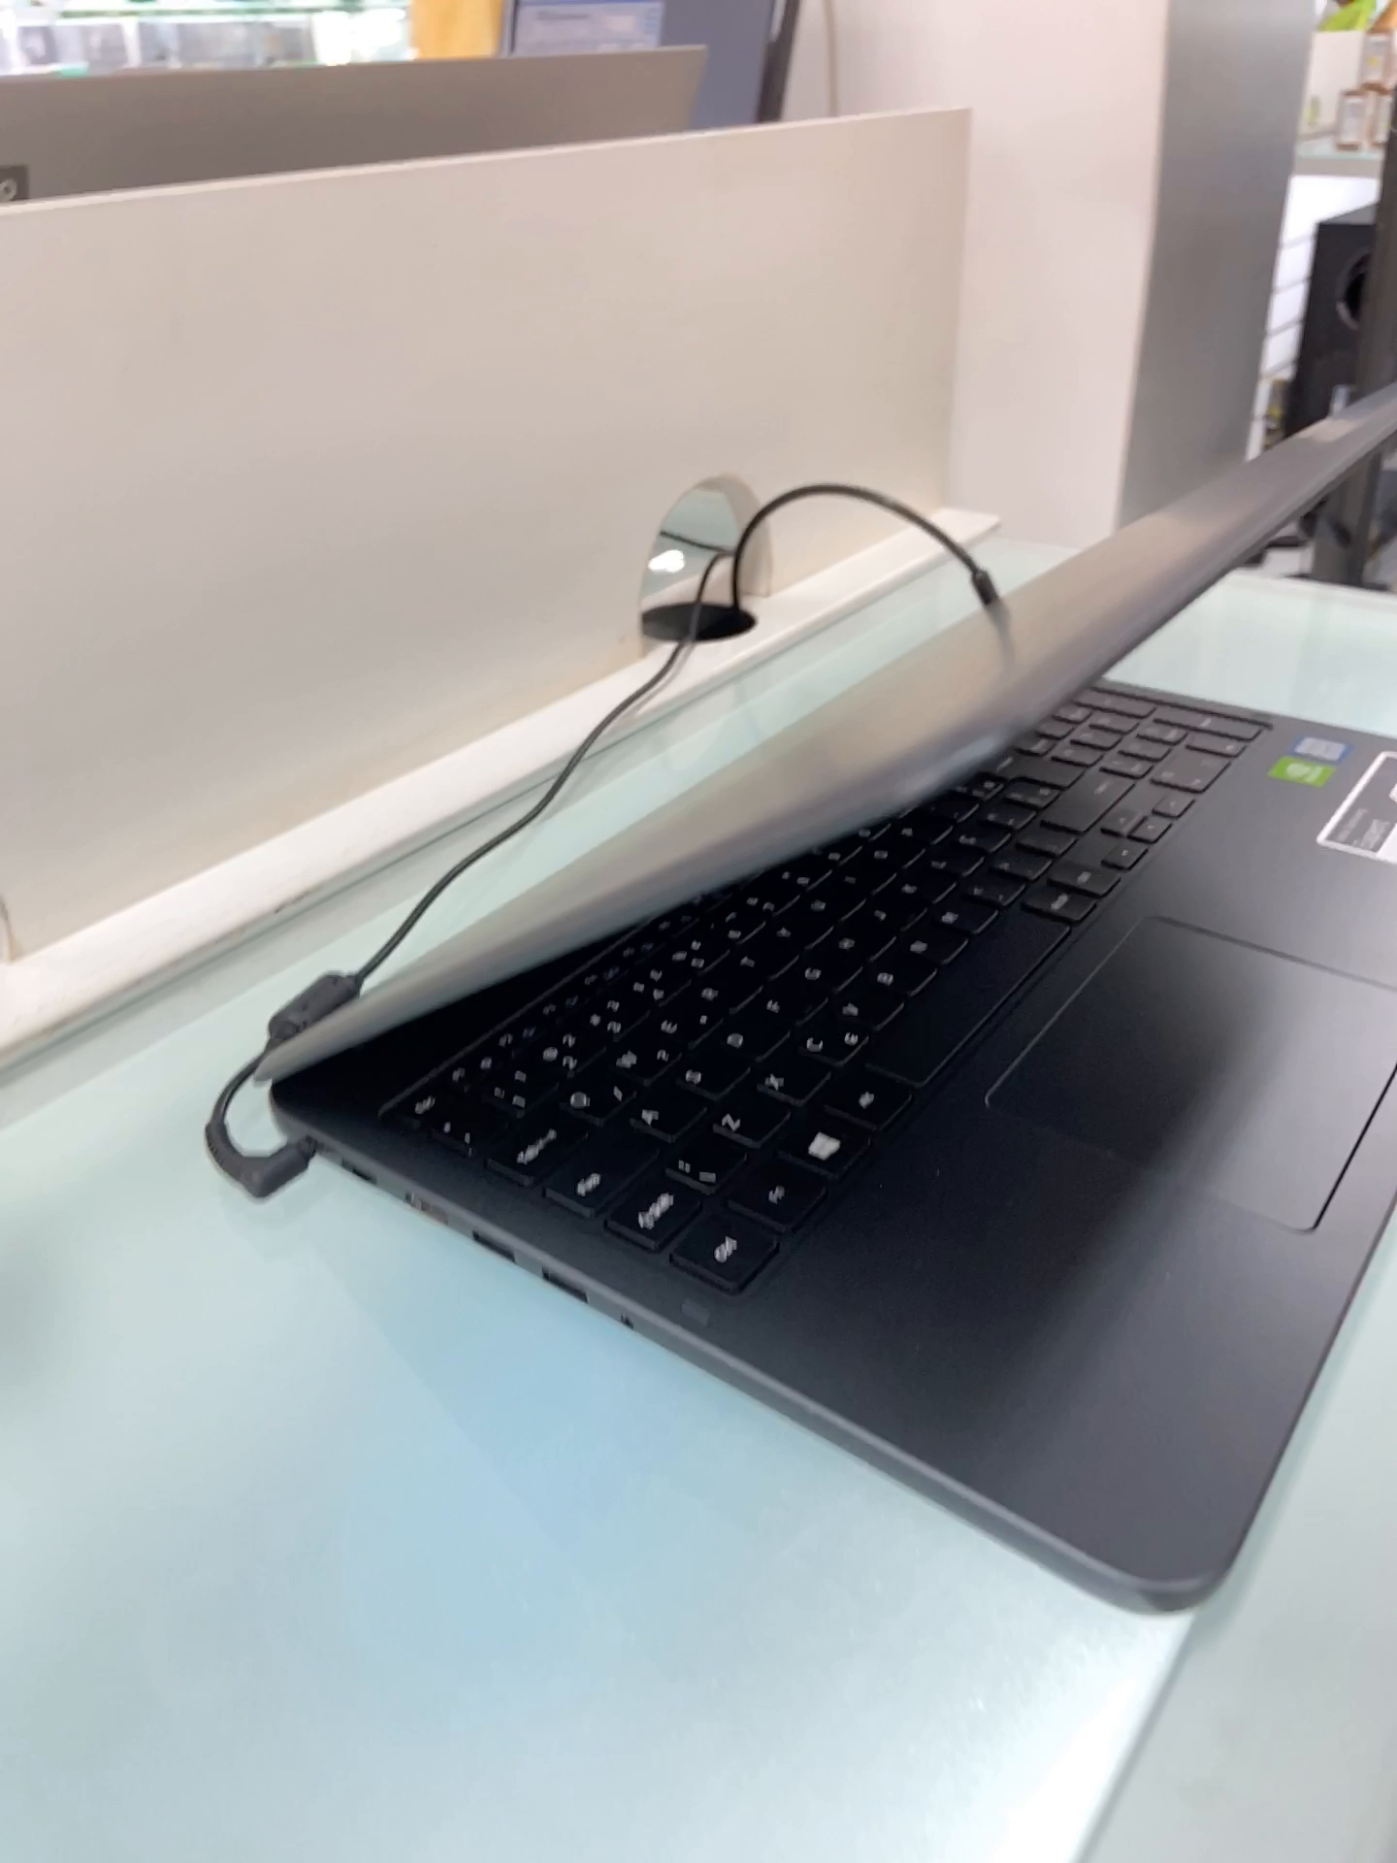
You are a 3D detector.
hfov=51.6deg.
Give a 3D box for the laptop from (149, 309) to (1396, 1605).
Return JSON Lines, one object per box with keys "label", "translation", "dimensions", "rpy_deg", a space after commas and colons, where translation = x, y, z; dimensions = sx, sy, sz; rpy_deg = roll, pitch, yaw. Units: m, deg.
{"label": "laptop", "translation": [0.097, -0.062, 0.401], "dimensions": [0.239, 0.139, 0.378], "rpy_deg": [20, 37, 30]}
